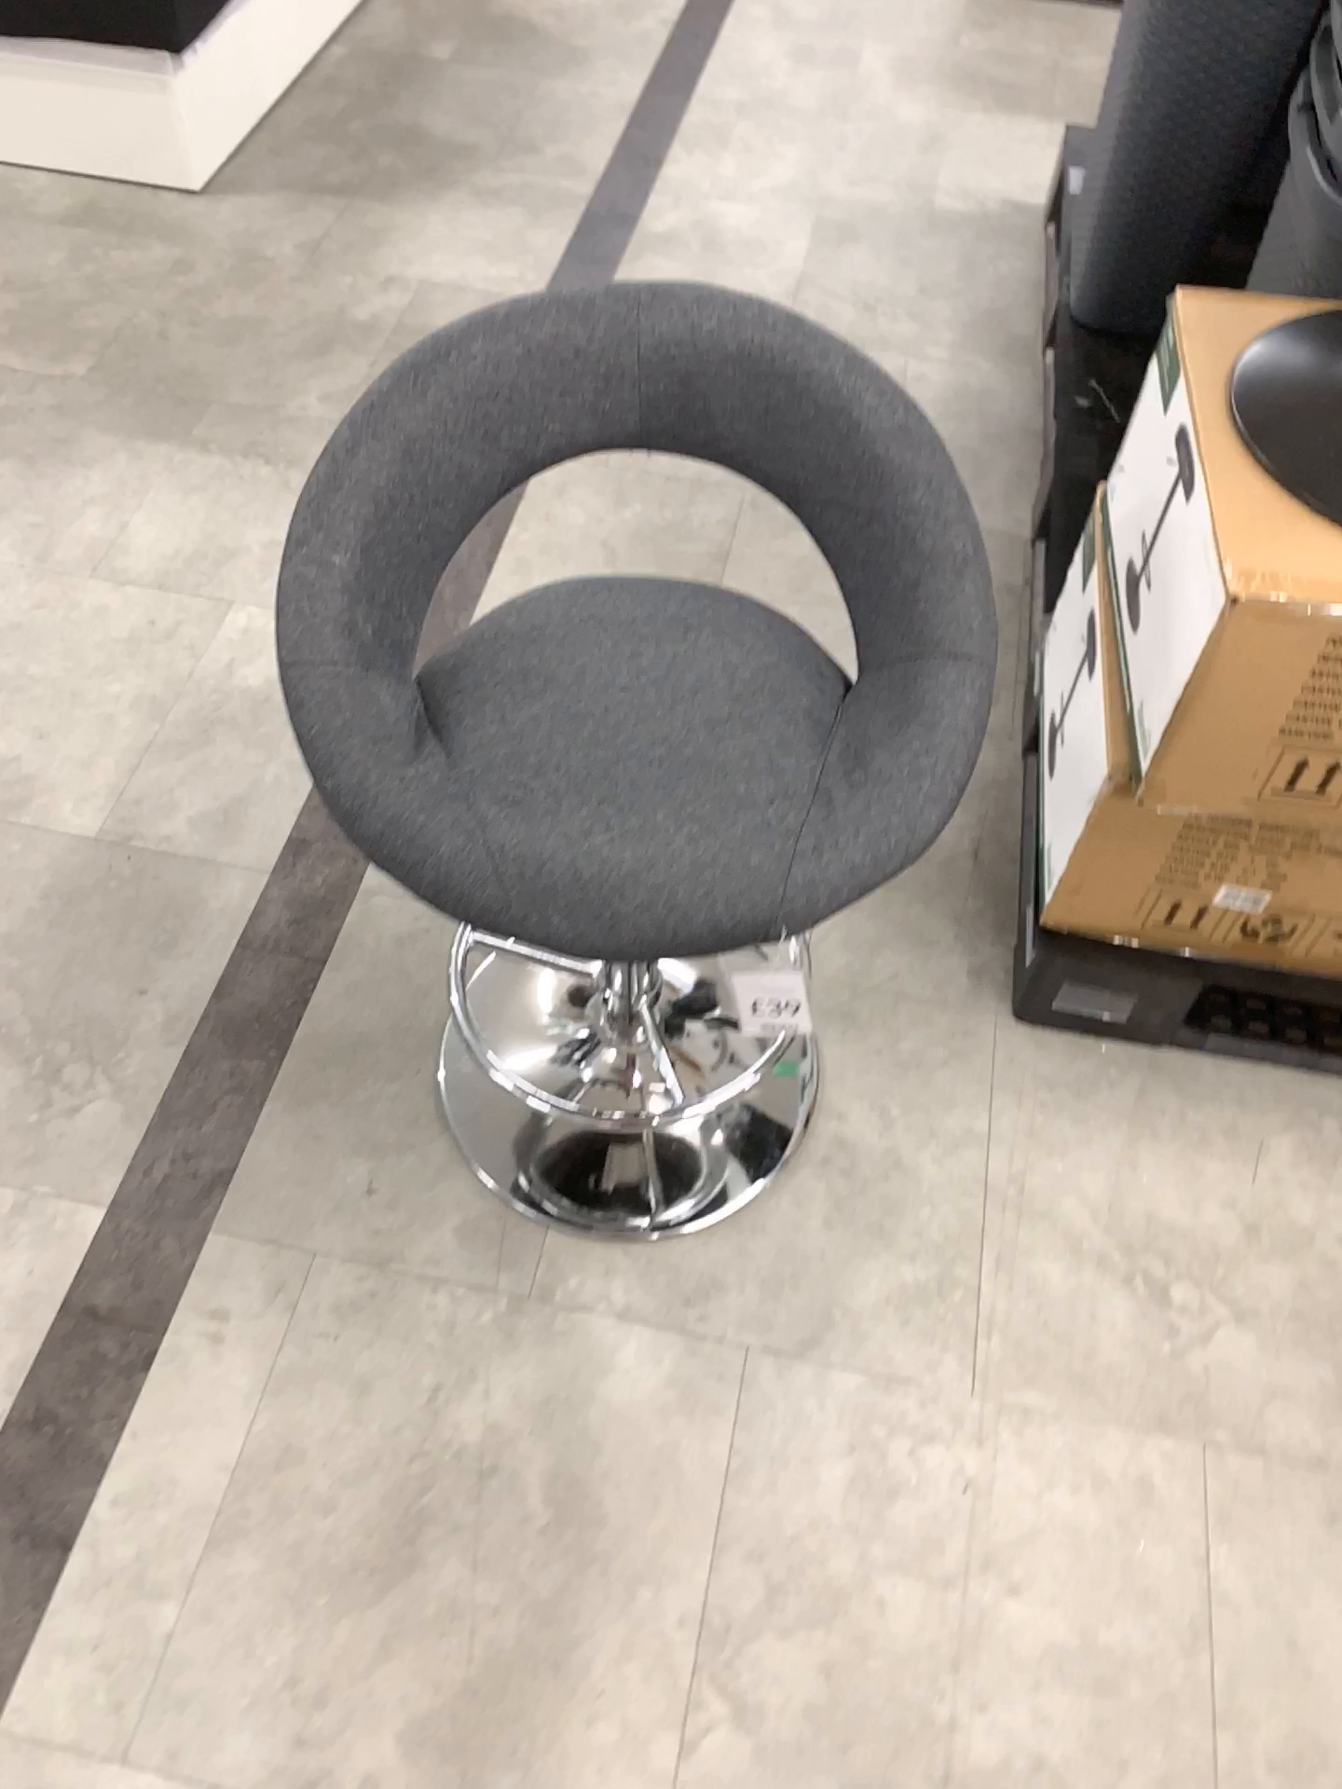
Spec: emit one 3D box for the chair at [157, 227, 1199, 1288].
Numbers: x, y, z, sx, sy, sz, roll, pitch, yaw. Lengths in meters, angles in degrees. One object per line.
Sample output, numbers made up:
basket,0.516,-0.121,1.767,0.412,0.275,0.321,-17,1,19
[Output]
chair,0.001,-0.085,1.198,0.572,0.665,0.597,4,53,-1
